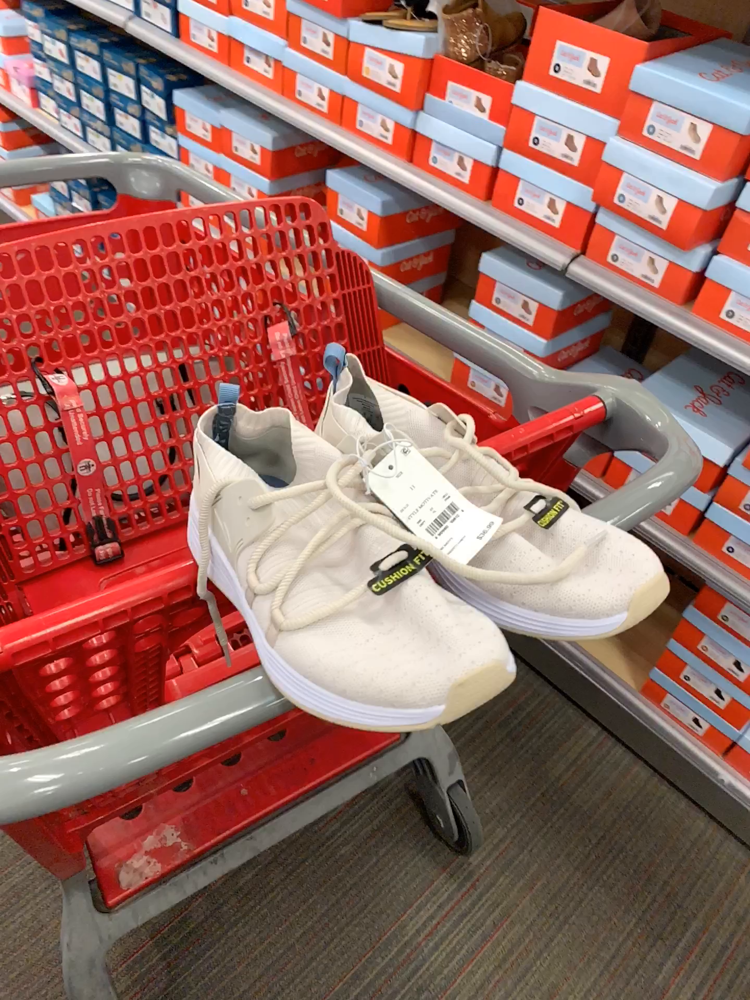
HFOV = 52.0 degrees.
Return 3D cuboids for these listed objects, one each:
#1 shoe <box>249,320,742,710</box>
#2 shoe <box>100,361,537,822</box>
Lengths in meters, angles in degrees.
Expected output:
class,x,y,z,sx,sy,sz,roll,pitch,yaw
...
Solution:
class,x,y,z,sx,sy,sz,roll,pitch,yaw
shoe,0.057,-0.012,0.487,0.110,0.110,0.281,-32,44,-33
shoe,-0.049,0.023,0.443,0.110,0.110,0.281,-22,35,-27
